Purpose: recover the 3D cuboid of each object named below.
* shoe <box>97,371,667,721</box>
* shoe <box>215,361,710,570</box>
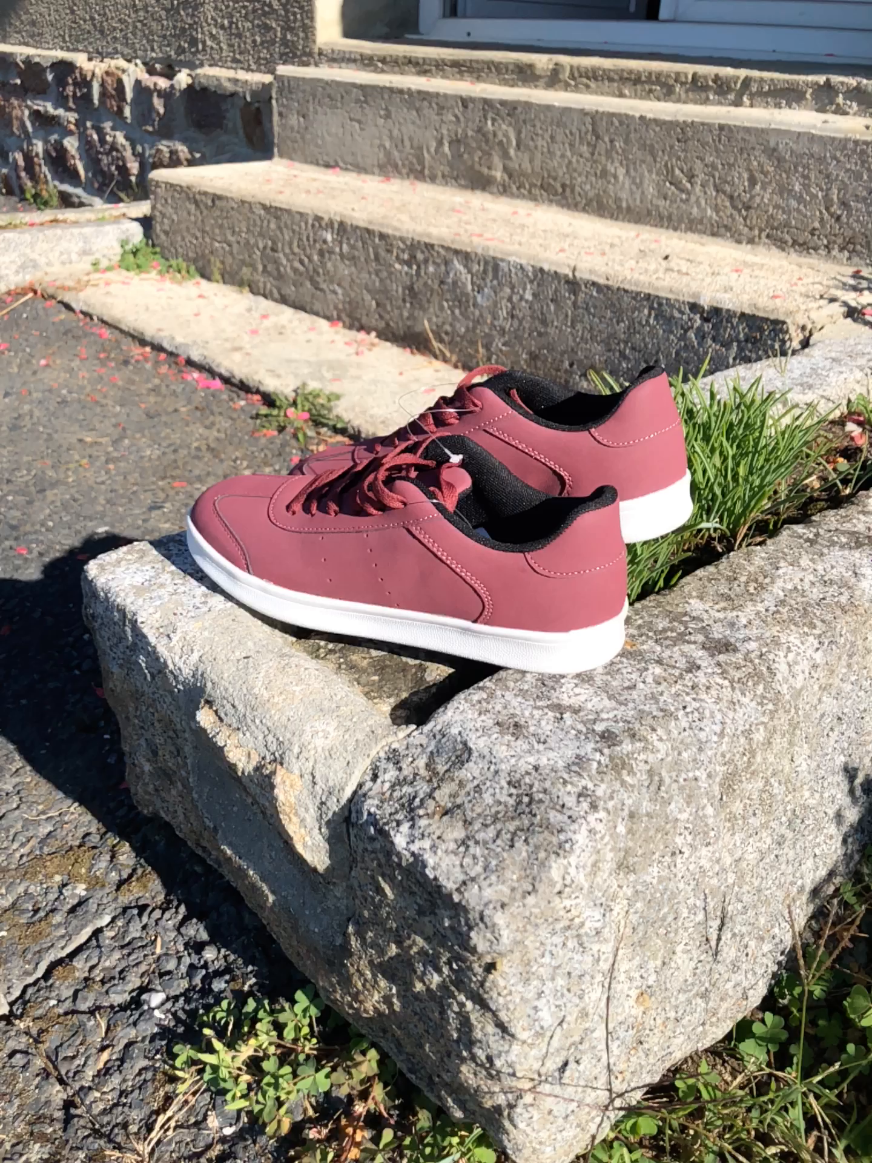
[{"bbox_3d":[-0.032,-0.031,0.481,0.260,0.080,0.101,17,32,24],"label":"shoe"},{"bbox_3d":[0.016,-0.070,0.556,0.259,0.080,0.101,3,27,25],"label":"shoe"}]
